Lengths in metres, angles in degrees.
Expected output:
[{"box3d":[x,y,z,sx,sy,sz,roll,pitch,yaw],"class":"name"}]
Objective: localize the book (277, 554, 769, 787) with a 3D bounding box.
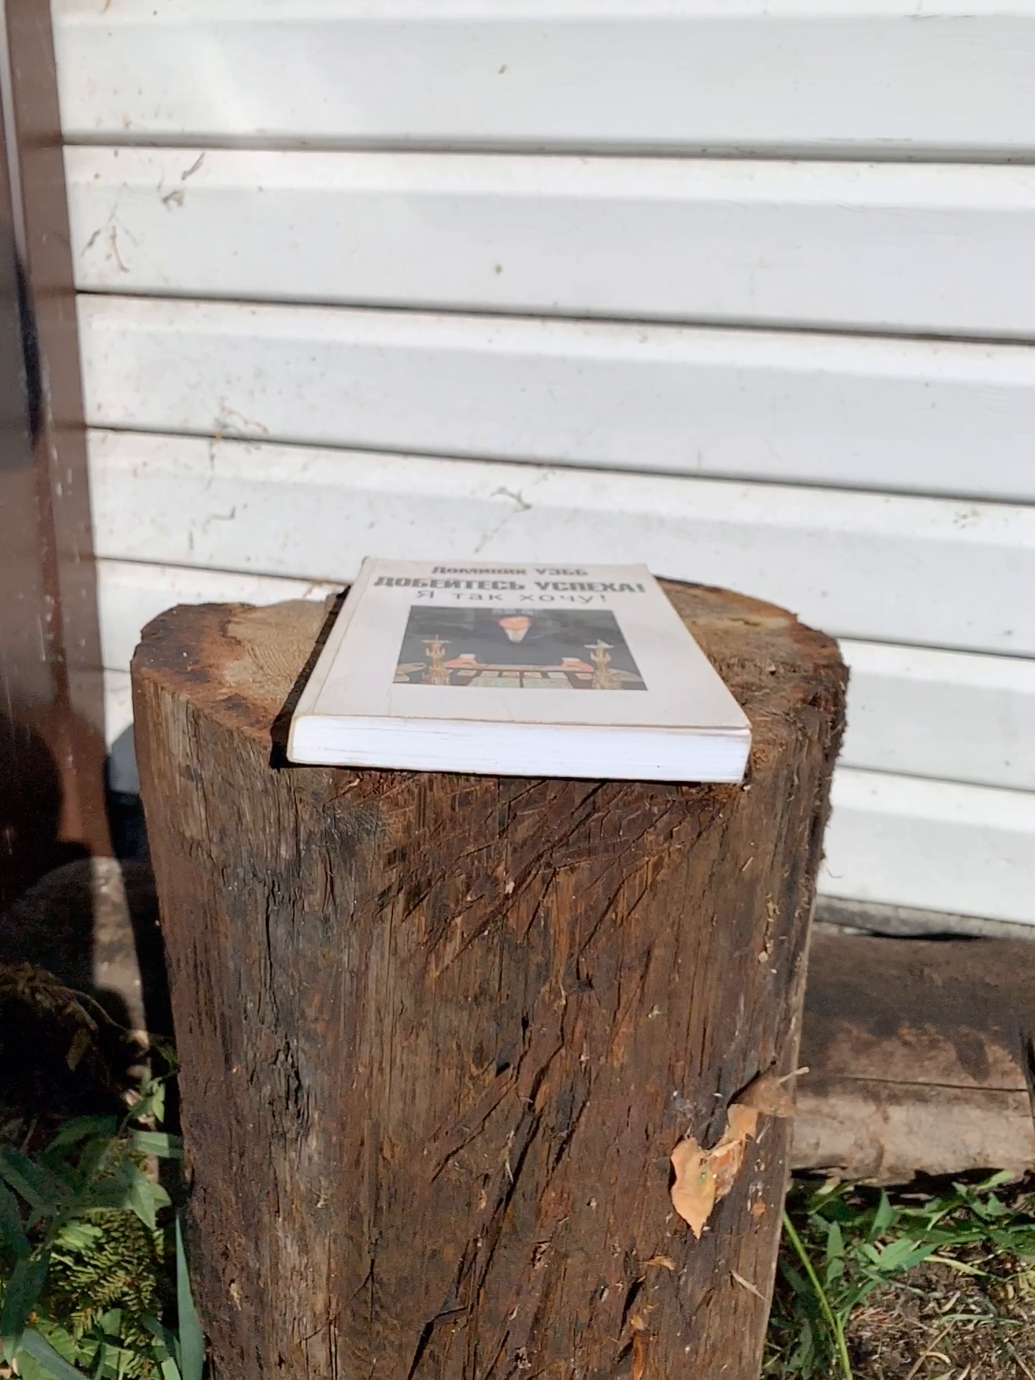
[{"box3d":[-0.002,-0.018,0.407,0.139,0.020,0.211,2,19,-3],"class":"book"}]
